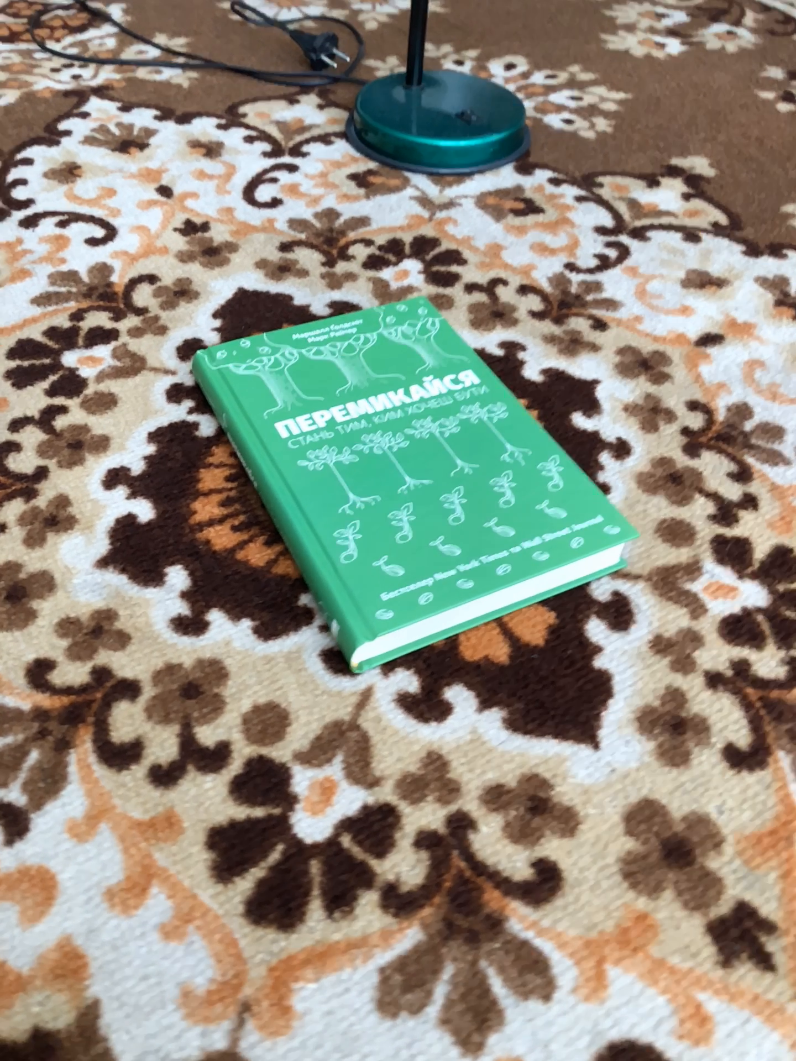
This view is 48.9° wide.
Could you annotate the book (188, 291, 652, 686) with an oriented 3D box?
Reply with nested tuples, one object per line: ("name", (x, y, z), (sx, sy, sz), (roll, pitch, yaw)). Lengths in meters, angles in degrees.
("book", (0.000, -0.037, 0.414), (0.138, 0.023, 0.203), (-19, 52, -20))
